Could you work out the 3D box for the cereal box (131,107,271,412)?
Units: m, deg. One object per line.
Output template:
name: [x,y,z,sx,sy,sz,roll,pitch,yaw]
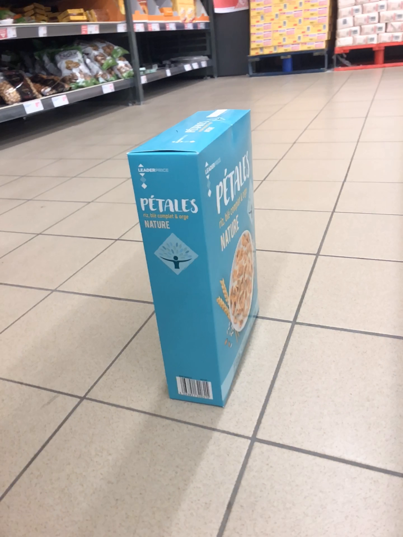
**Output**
cereal box: [0.020,-0.020,0.489,0.070,0.269,0.201,4,28,19]
